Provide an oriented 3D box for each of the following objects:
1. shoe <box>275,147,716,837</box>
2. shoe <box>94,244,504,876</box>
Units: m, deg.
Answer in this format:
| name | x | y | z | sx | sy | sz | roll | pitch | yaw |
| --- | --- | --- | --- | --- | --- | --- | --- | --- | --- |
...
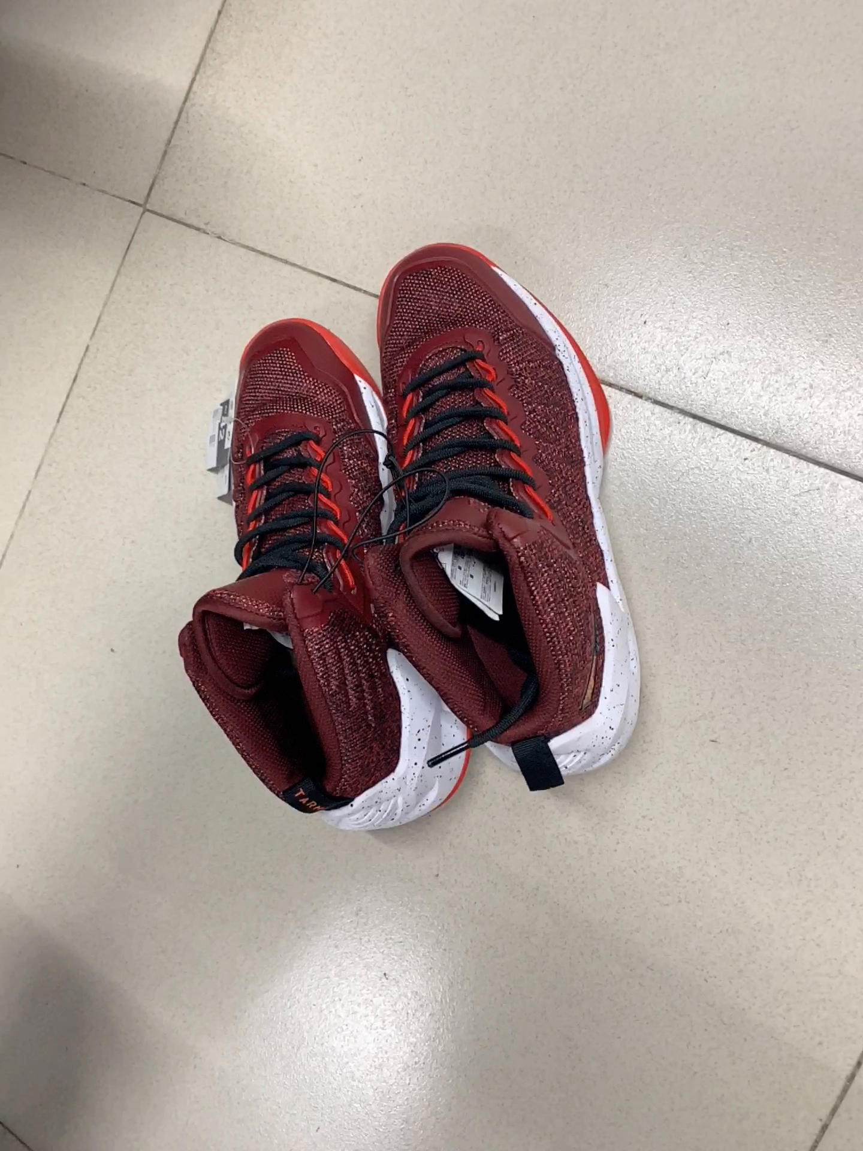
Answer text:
| name | x | y | z | sx | sy | sz | roll | pitch | yaw |
| --- | --- | --- | --- | --- | --- | --- | --- | --- | --- |
| shoe | 0.033 | -0.032 | 0.426 | 0.120 | 0.110 | 0.270 | -17 | 81 | 20 |
| shoe | -0.069 | -0.004 | 0.474 | 0.120 | 0.110 | 0.280 | -17 | 81 | 20 |
